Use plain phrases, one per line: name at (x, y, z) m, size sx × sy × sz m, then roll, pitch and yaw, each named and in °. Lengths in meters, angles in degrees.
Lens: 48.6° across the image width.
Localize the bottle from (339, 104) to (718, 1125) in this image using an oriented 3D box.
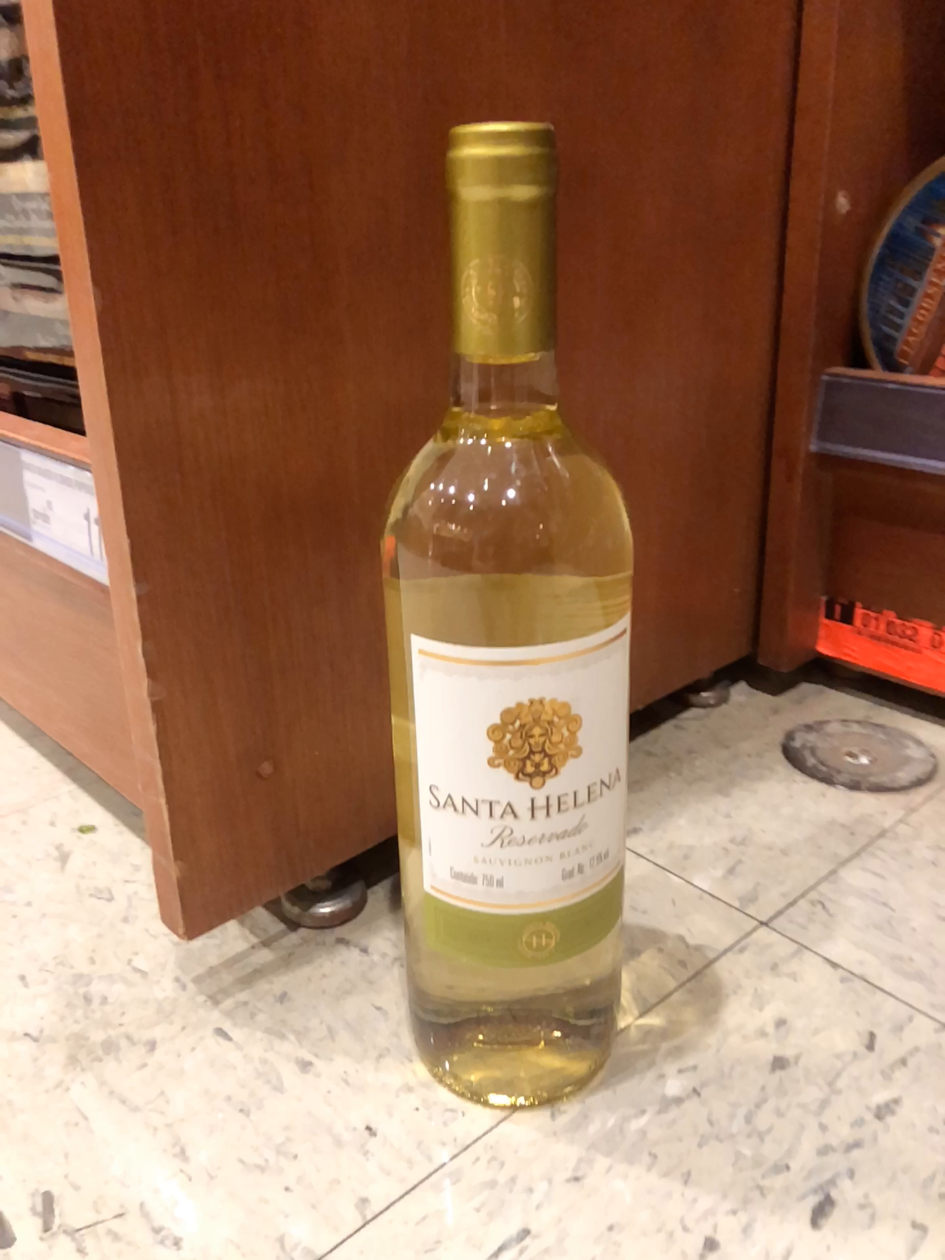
bottle at (0.013, 0.006, 0.305) m, size 0.080 × 0.278 × 0.070 m, roll -5°, pitch 22°, yaw -7°
